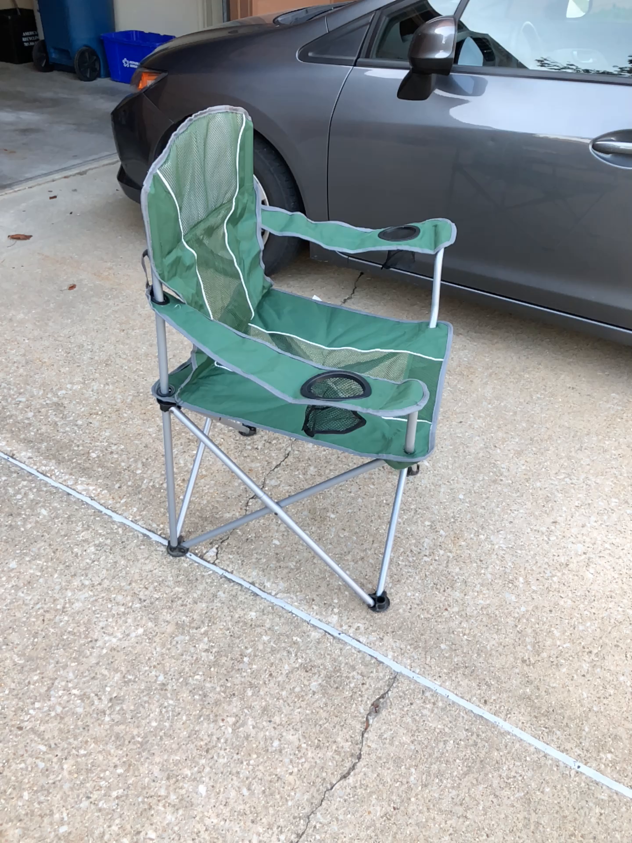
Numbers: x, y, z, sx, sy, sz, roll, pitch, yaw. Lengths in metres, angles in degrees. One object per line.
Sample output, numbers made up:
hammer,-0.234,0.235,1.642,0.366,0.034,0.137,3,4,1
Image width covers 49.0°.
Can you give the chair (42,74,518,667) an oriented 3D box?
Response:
chair,0.007,-0.163,1.513,0.640,0.908,0.822,11,36,11
